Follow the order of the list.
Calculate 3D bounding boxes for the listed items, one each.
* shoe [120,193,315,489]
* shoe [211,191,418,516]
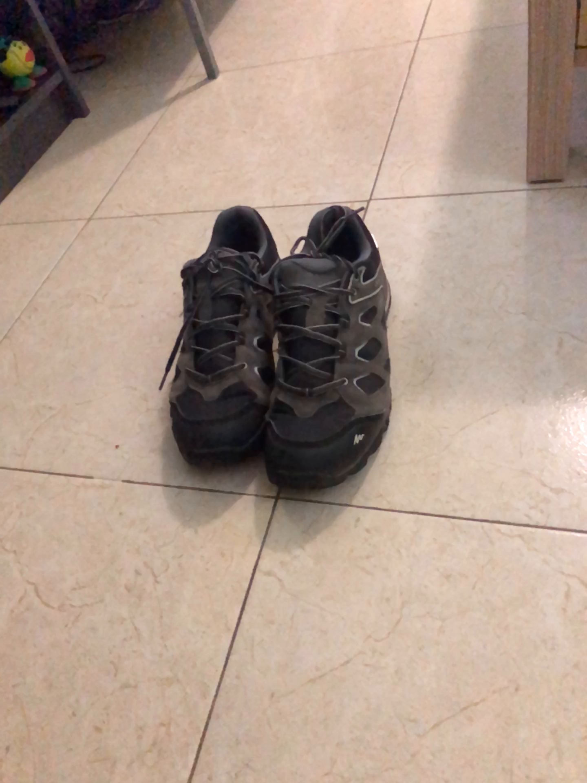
[{"bbox_3d":[-0.061,-0.063,0.680,0.120,0.110,0.311,-5,49,15],"label":"shoe"},{"bbox_3d":[0.038,-0.049,0.624,0.120,0.110,0.311,0,50,19],"label":"shoe"}]
